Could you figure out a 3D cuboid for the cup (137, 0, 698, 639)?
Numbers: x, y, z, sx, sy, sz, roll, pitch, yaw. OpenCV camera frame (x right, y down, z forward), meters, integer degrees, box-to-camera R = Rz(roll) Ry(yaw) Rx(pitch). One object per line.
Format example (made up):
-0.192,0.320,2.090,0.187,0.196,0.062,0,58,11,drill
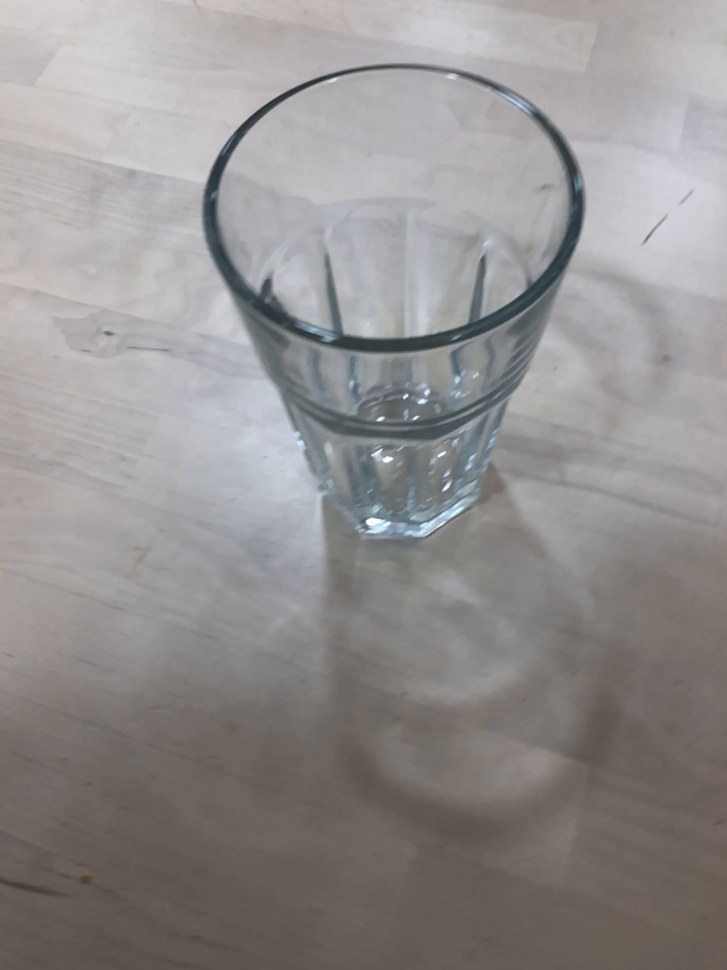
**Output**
0.017,-0.034,0.249,0.090,0.159,0.090,-1,64,3,cup
